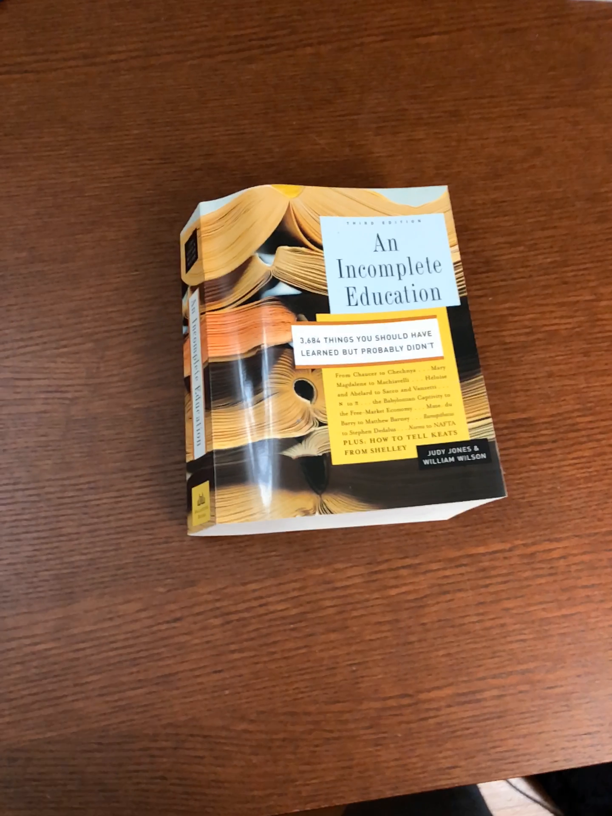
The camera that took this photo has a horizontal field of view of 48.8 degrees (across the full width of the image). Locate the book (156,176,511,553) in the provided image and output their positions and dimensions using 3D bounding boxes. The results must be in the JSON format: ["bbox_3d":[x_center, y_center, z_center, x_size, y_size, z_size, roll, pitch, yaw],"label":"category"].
[{"bbox_3d":[0.009,-0.038,0.477,0.210,0.060,0.250,-4,73,-12],"label":"book"}]
